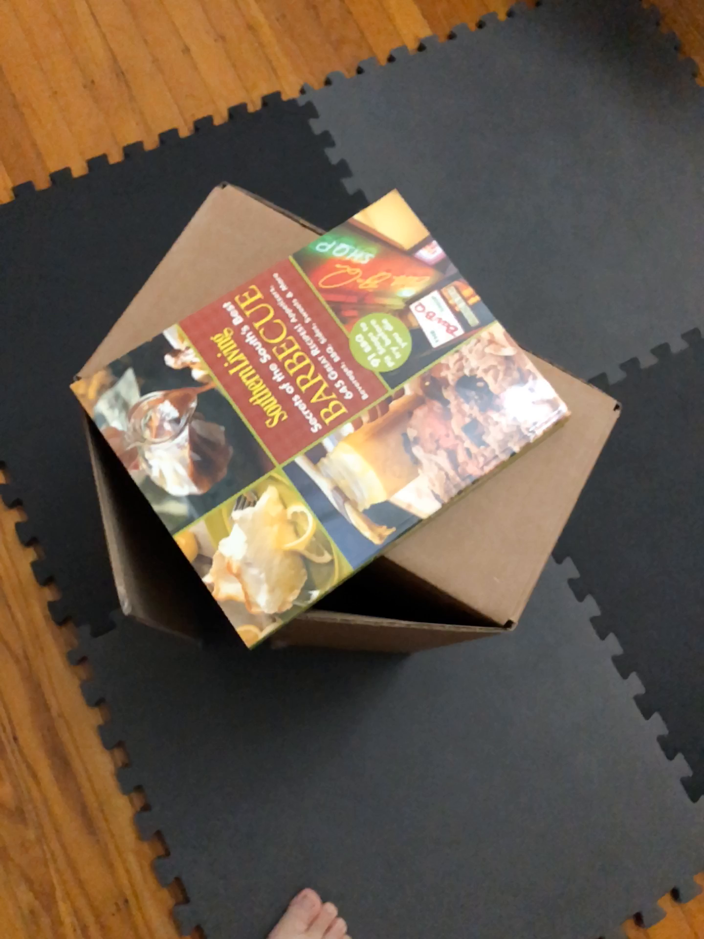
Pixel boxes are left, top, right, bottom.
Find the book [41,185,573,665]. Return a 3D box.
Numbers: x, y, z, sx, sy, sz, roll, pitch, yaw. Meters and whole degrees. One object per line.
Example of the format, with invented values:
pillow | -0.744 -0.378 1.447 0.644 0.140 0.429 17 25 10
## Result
book | -0.026 -0.043 0.543 0.290 0.020 0.220 -34 81 -13
